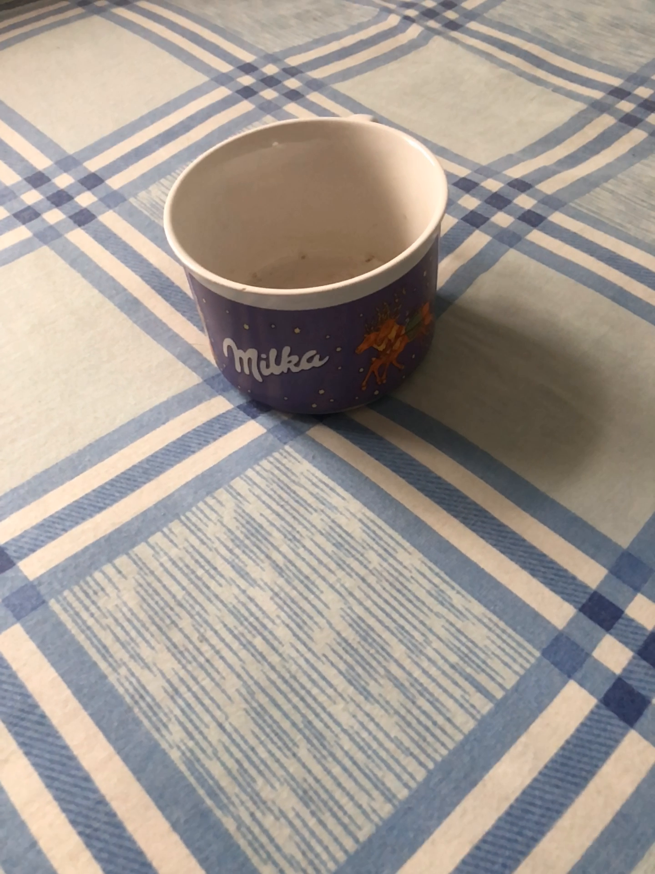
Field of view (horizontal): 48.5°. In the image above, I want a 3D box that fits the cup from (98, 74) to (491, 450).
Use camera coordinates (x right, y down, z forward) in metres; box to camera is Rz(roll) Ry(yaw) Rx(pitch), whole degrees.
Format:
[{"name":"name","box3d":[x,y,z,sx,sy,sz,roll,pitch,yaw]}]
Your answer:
[{"name":"cup","box3d":[-0.004,-0.076,0.290,0.104,0.063,0.131,15,53,12]}]
